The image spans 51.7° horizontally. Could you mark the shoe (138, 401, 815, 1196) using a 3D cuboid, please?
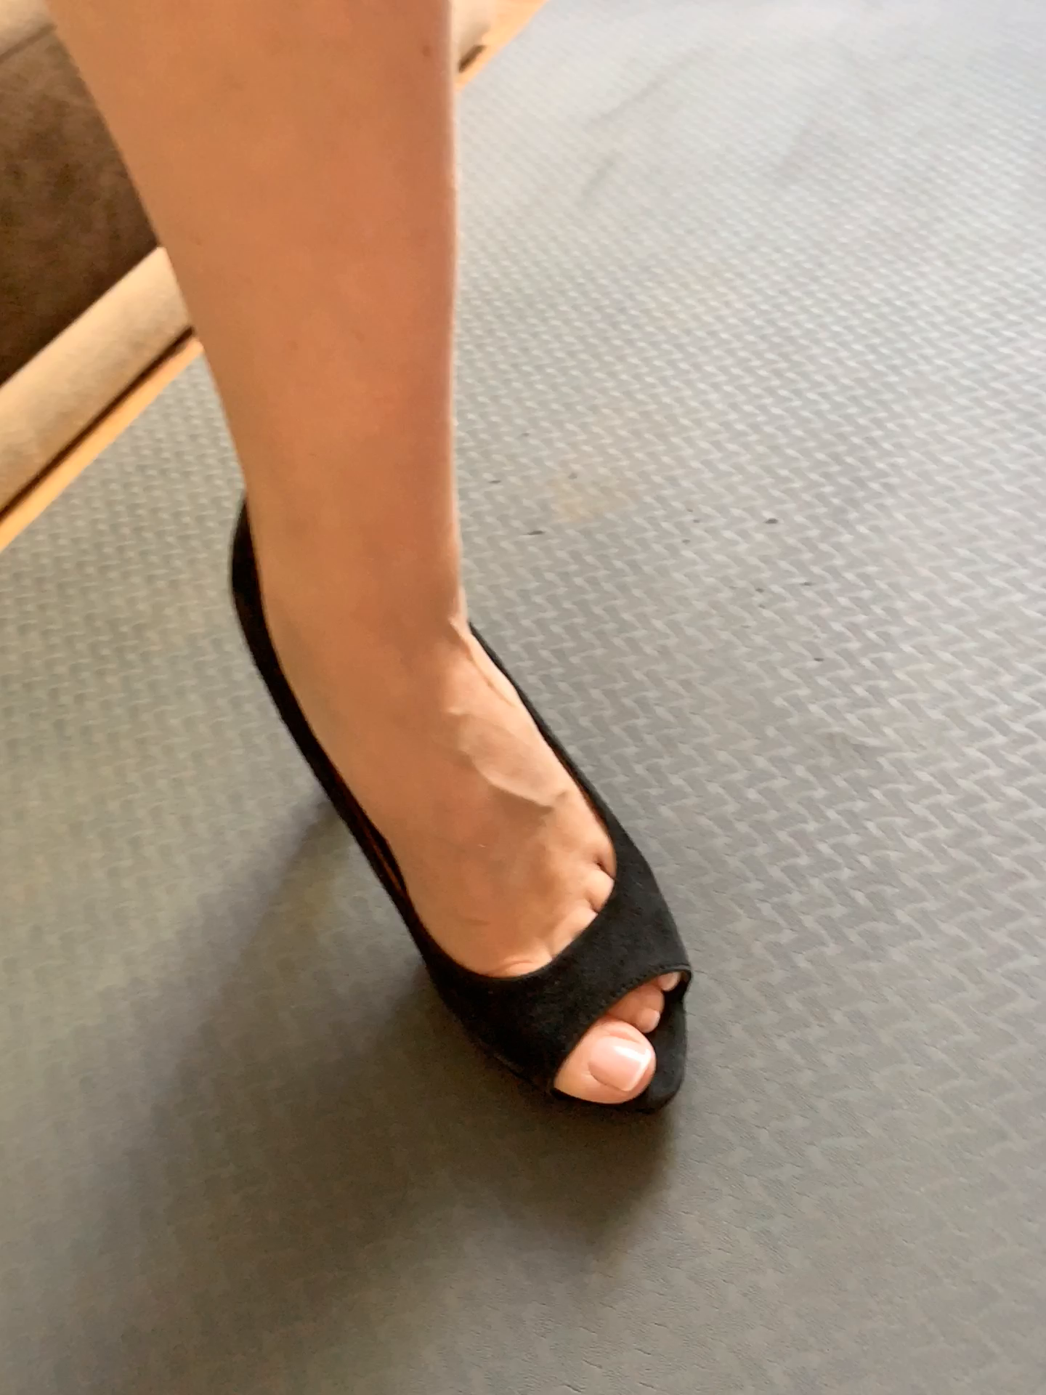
[{"bbox_3d":[-0.018,0.024,0.353,0.090,0.139,0.211,-33,52,-16],"label":"shoe"}]
